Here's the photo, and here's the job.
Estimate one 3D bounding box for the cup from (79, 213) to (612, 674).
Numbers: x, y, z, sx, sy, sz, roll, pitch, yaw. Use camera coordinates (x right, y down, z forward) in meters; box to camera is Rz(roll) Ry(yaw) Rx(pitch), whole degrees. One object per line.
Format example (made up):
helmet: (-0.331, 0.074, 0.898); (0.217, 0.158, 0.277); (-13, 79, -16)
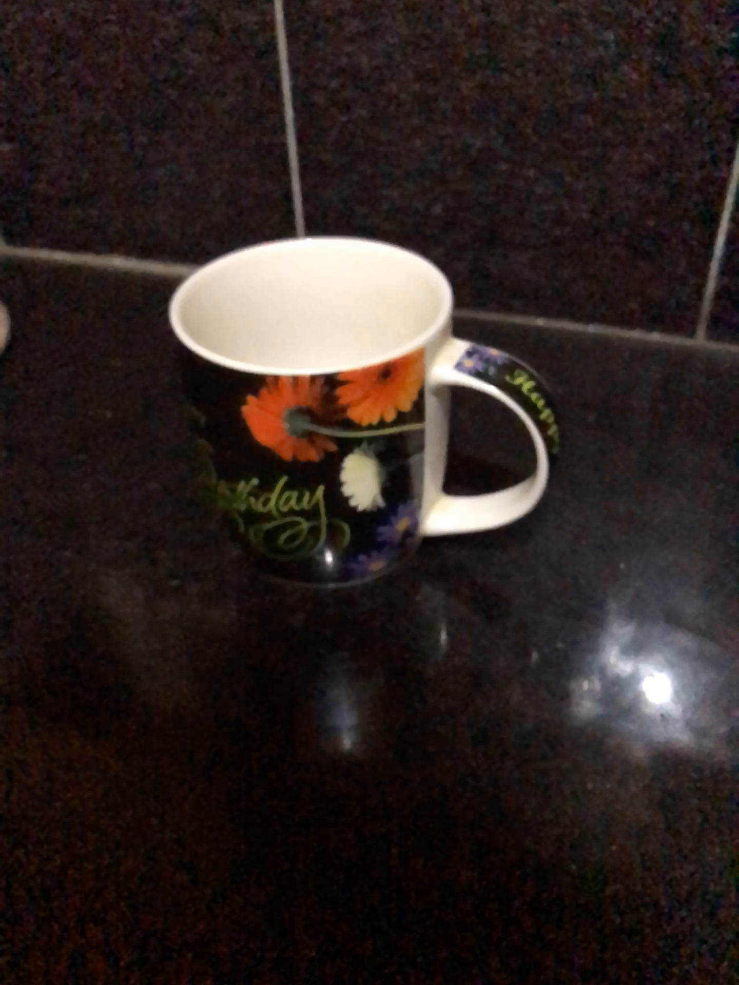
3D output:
cup: (-0.002, -0.023, 0.273); (0.130, 0.089, 0.091); (15, 43, 20)
